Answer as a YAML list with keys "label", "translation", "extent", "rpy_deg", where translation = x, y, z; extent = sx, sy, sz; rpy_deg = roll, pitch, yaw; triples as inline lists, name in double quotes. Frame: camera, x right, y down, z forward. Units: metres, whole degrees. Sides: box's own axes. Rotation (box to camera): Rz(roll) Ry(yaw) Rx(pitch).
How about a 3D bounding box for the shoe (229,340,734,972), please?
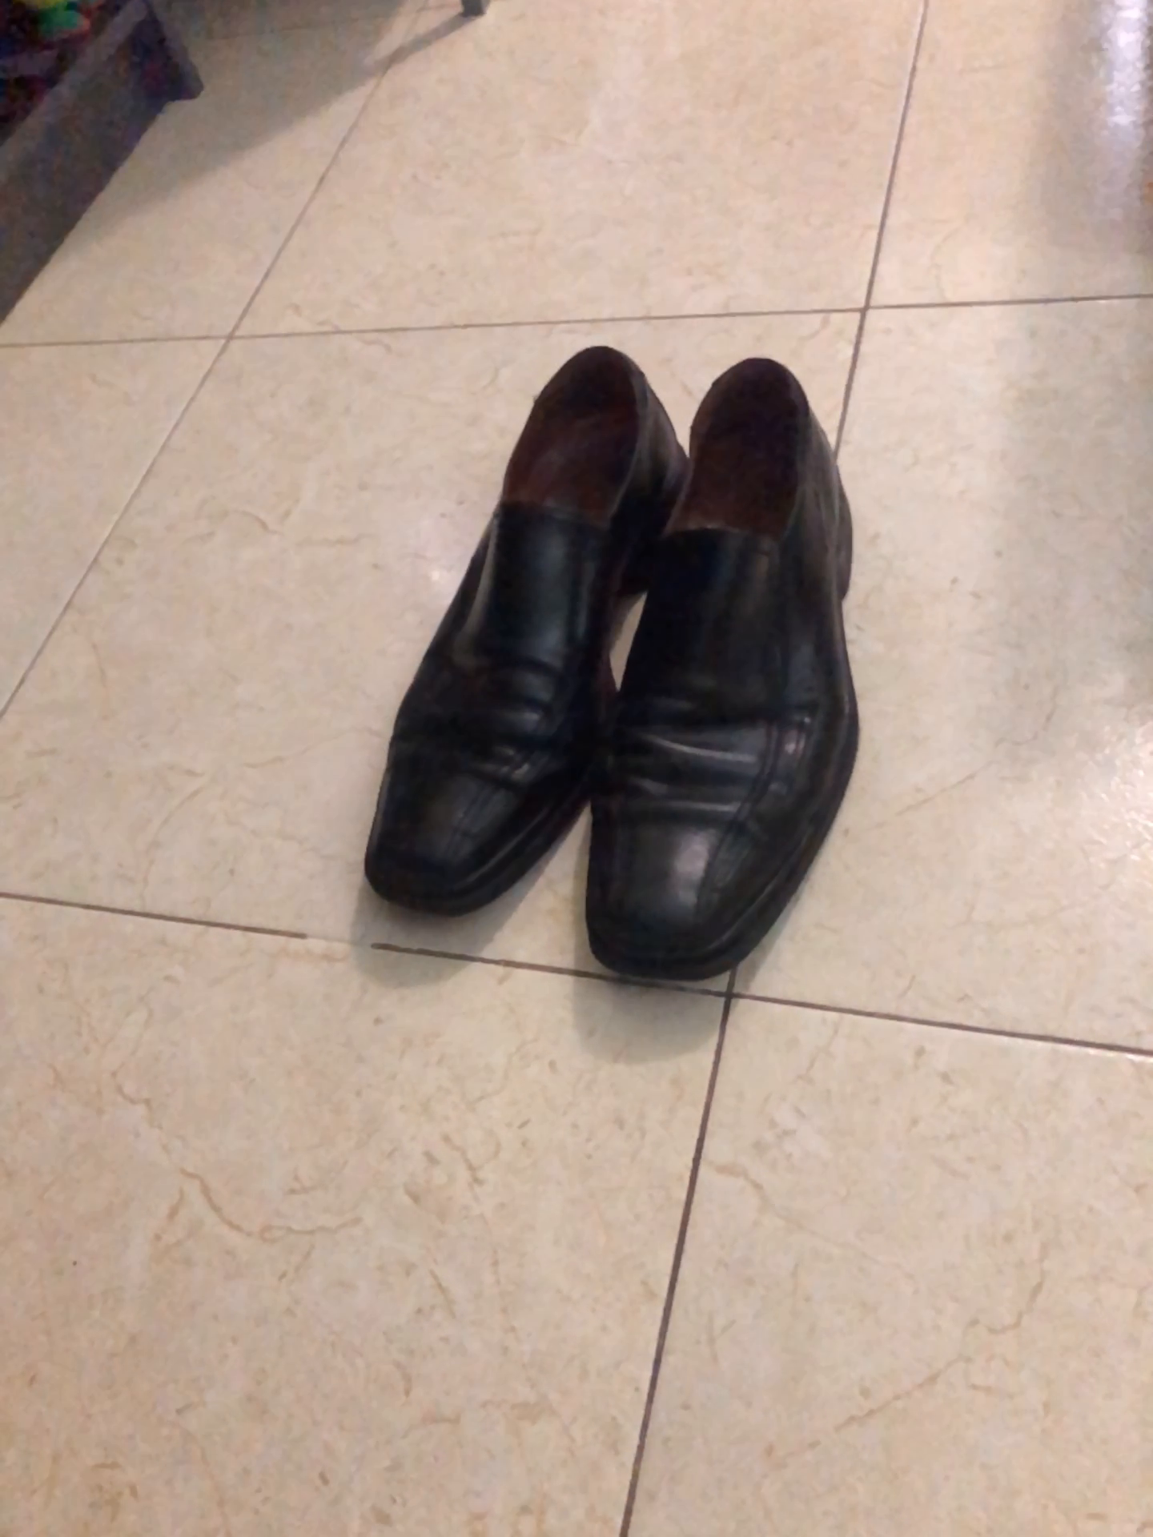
- label: "shoe"
  translation: [-0.029, -0.071, 0.620]
  extent: [0.120, 0.090, 0.311]
  rpy_deg: [9, 58, 22]

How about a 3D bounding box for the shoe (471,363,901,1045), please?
- label: "shoe"
  translation: [0.066, -0.045, 0.581]
  extent: [0.120, 0.090, 0.311]
  rpy_deg: [5, 57, 20]
